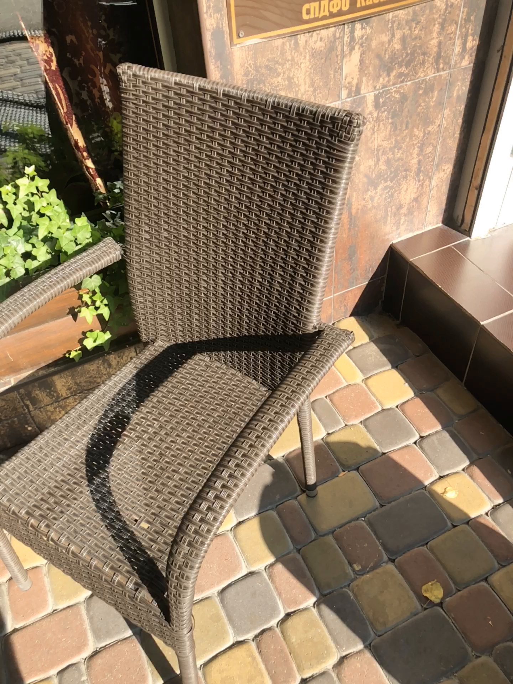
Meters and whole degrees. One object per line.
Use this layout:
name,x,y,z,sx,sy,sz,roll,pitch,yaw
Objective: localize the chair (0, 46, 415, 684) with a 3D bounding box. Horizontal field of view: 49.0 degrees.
chair,-0.160,0.098,0.924,0.521,0.847,0.582,23,51,24
